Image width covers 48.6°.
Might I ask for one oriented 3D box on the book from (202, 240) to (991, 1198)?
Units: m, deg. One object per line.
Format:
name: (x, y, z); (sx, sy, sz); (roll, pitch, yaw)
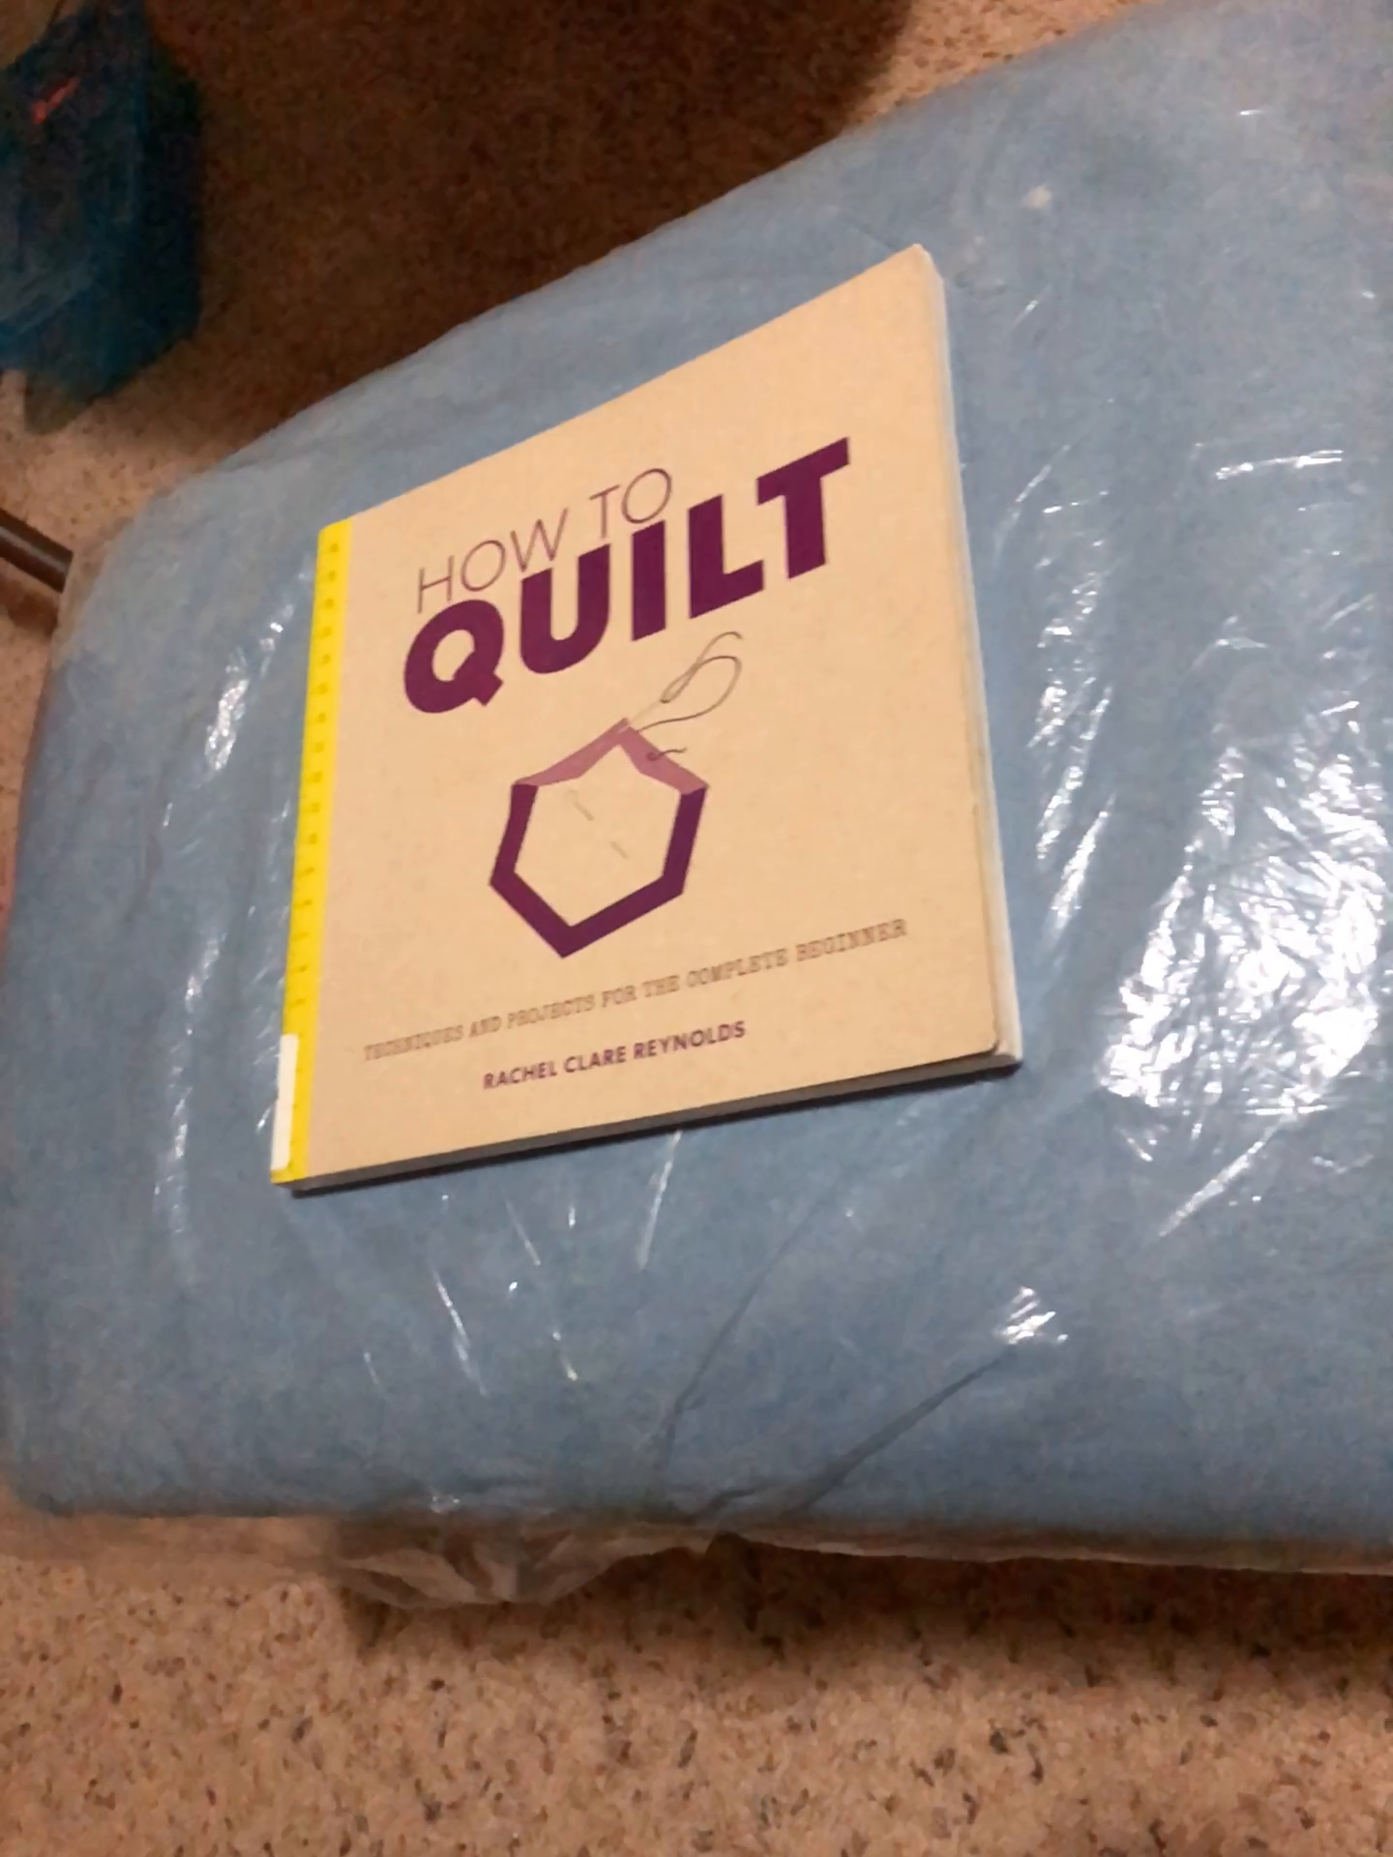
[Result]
book: (-0.037, -0.044, 0.383); (0.208, 0.020, 0.194); (-14, 66, 31)
